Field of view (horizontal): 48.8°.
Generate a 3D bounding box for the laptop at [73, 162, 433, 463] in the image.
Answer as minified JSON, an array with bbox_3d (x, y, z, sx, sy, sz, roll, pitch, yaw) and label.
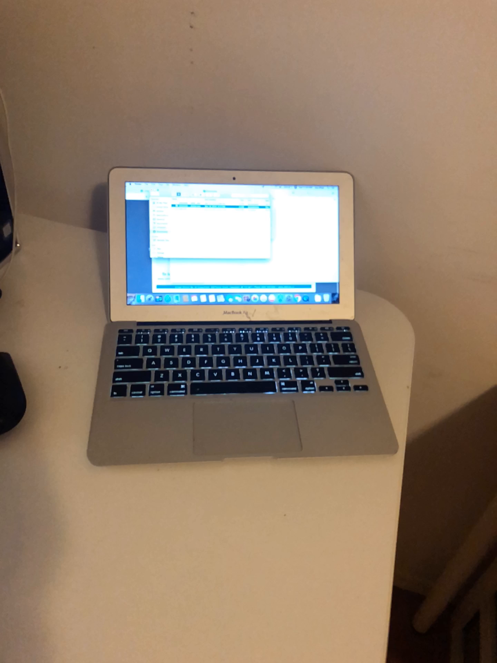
[{"bbox_3d":[-0.009,-0.041,0.574,0.280,0.126,0.307,-2,45,-5],"label":"laptop"}]
